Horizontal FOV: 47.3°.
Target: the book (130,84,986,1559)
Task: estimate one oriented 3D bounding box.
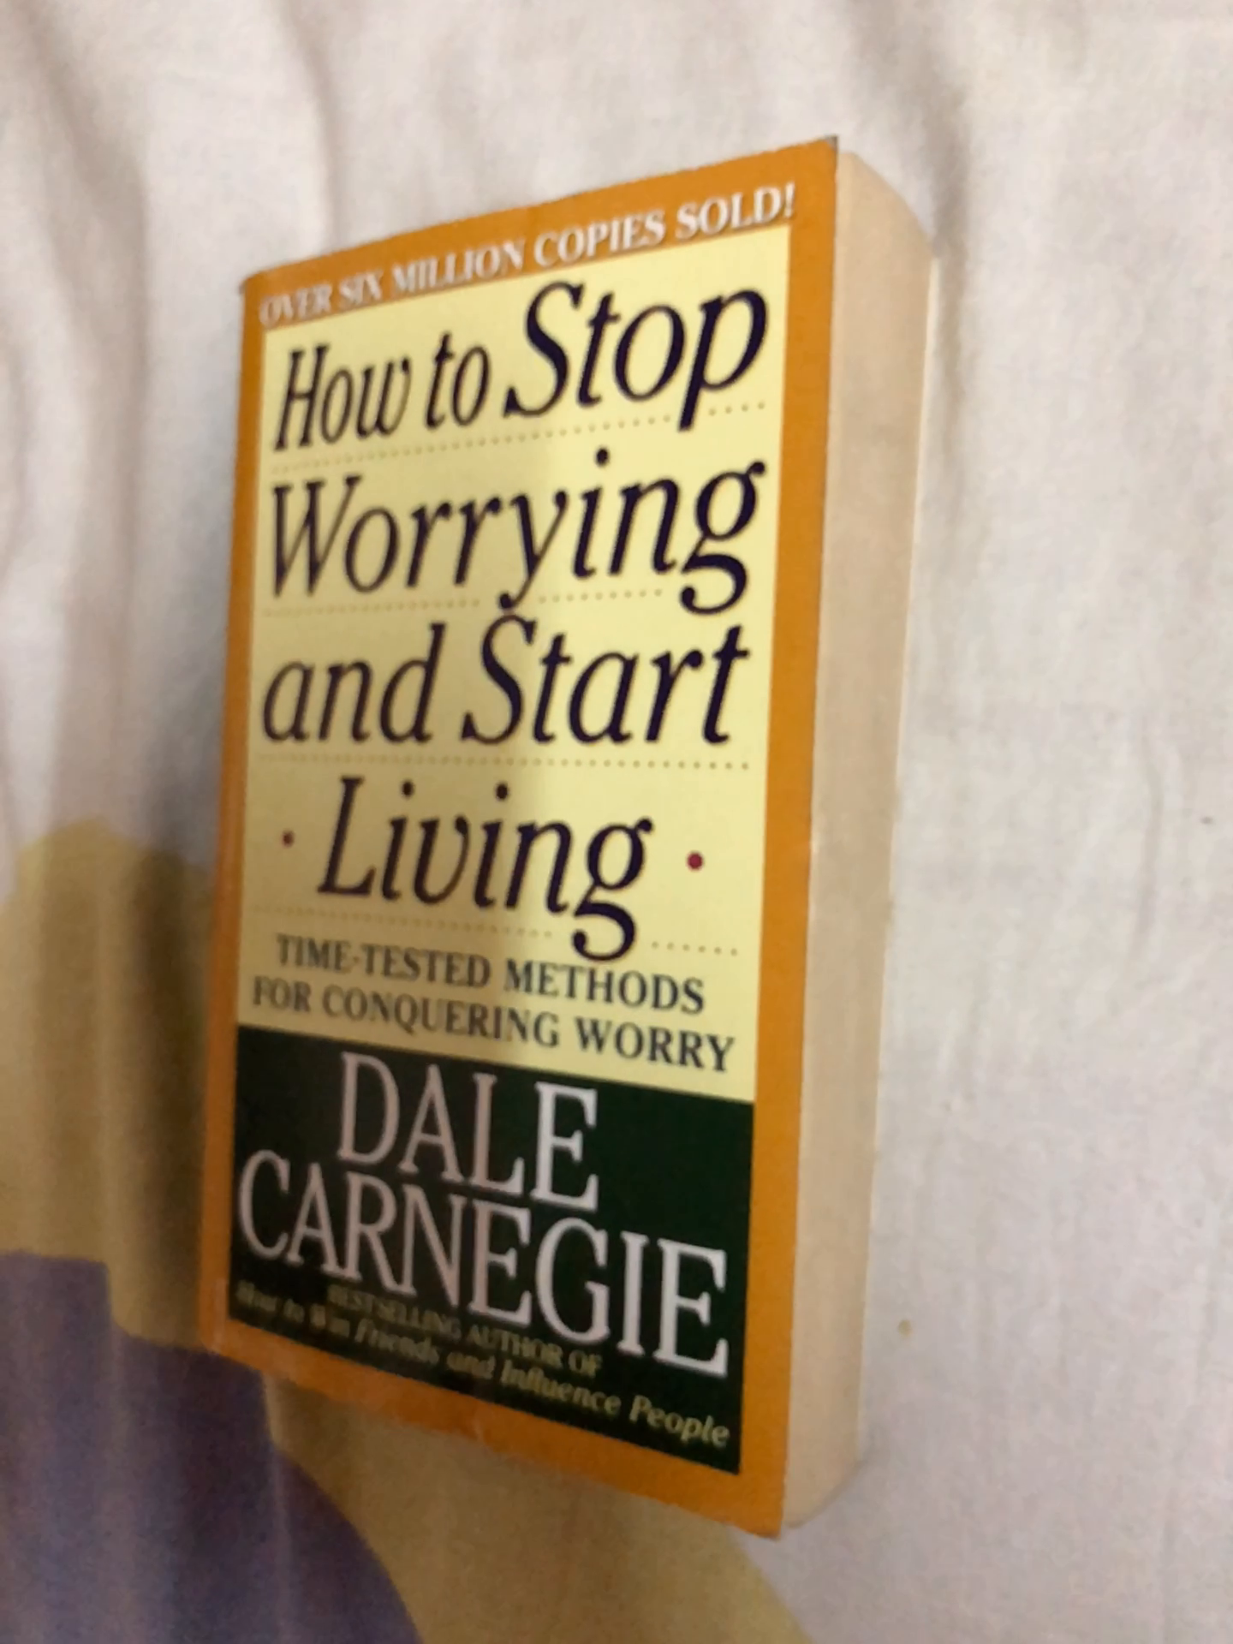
[{"bbox_3d":[-0.010,-0.002,0.210,0.110,0.050,0.170,2,89,28],"label":"book"}]
